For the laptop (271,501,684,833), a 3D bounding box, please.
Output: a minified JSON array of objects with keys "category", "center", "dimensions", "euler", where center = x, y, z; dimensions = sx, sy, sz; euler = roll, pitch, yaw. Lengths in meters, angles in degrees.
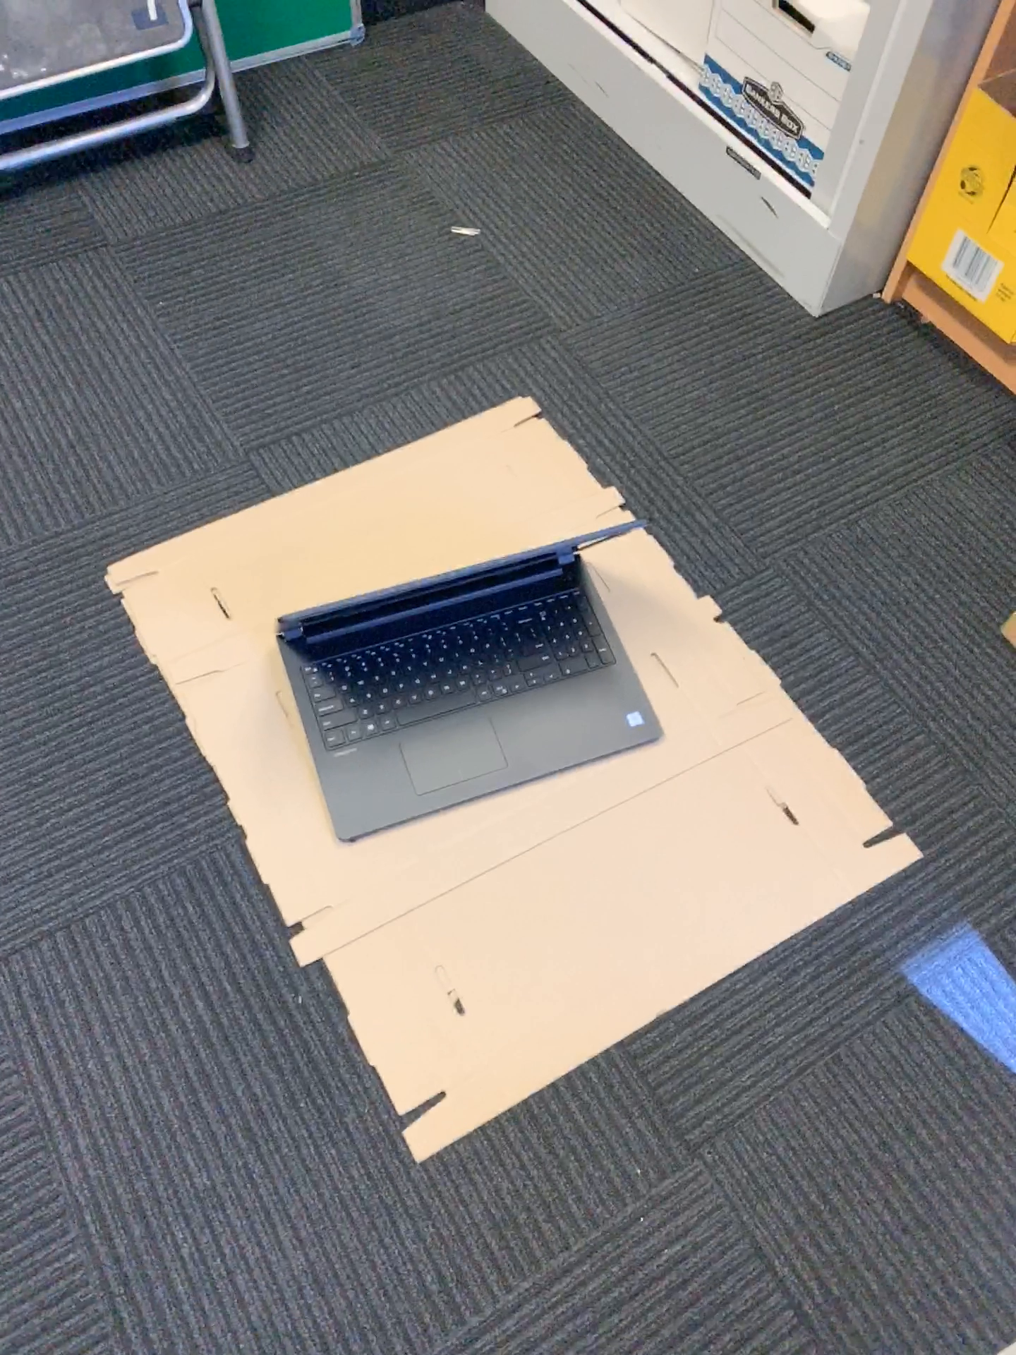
[{"category":"laptop","center":[-0.033,-0.018,1.019],"dimensions":[0.341,0.085,0.221],"euler":[-16,64,-13]}]
